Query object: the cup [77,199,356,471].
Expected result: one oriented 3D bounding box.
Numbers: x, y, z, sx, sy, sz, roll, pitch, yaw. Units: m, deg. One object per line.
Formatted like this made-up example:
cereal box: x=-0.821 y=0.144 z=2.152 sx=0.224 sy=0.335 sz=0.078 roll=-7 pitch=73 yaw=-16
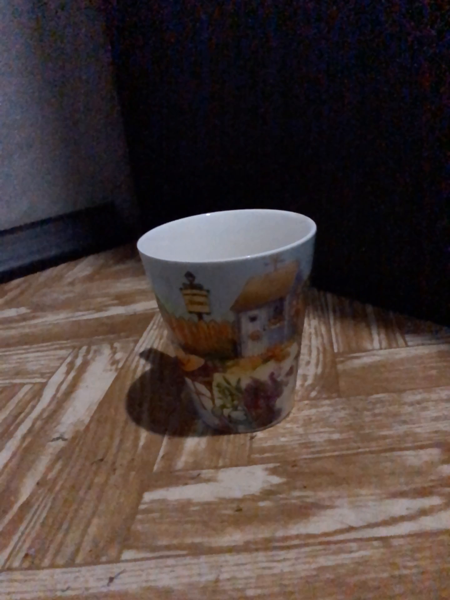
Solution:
cup: x=-0.003 y=0.006 z=0.257 sx=0.079 sy=0.090 sz=0.111 roll=-26 pitch=30 yaw=-38
